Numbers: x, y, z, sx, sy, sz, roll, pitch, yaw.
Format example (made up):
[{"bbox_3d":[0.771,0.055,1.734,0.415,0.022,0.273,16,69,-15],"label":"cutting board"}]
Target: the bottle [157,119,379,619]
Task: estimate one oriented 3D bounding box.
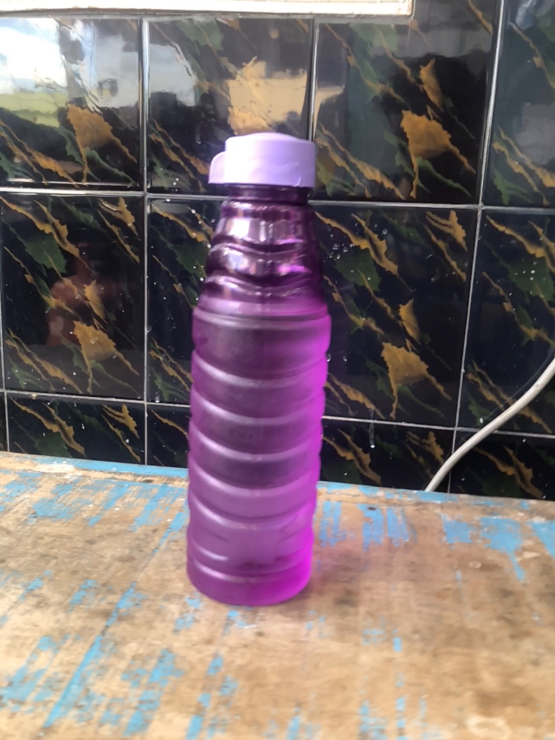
[{"bbox_3d":[-0.005,-0.003,0.336,0.090,0.239,0.080,7,14,18],"label":"bottle"}]
